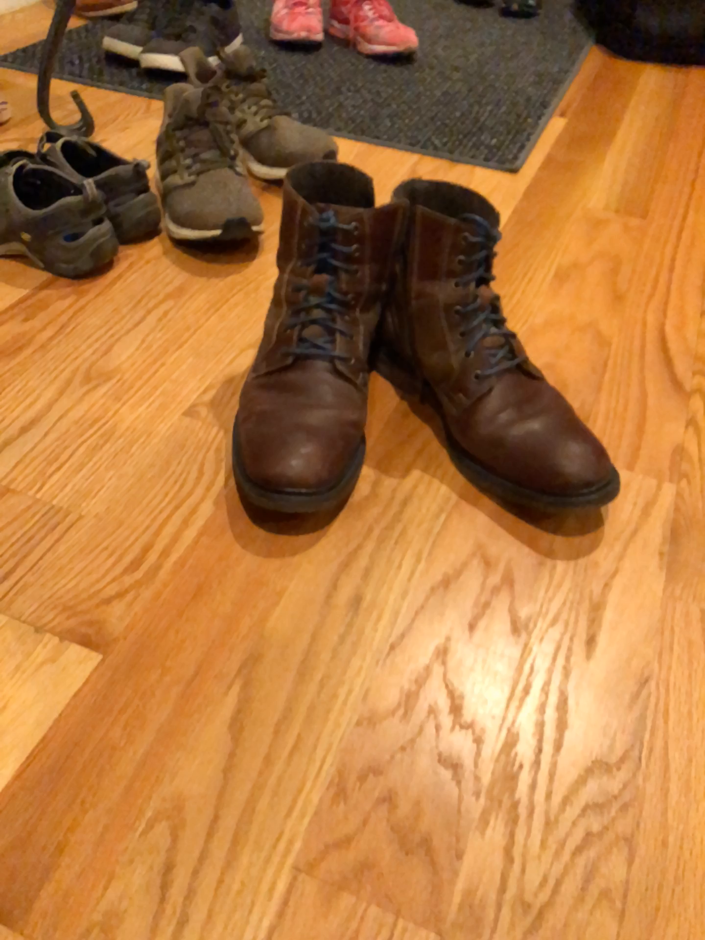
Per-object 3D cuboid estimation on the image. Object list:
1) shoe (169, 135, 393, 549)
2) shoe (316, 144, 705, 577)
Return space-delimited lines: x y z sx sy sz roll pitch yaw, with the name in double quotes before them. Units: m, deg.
"shoe" -0.038 -0.116 0.610 0.113 0.167 0.311 5 43 2
"shoe" 0.105 -0.101 0.606 0.128 0.176 0.304 -22 49 -25
